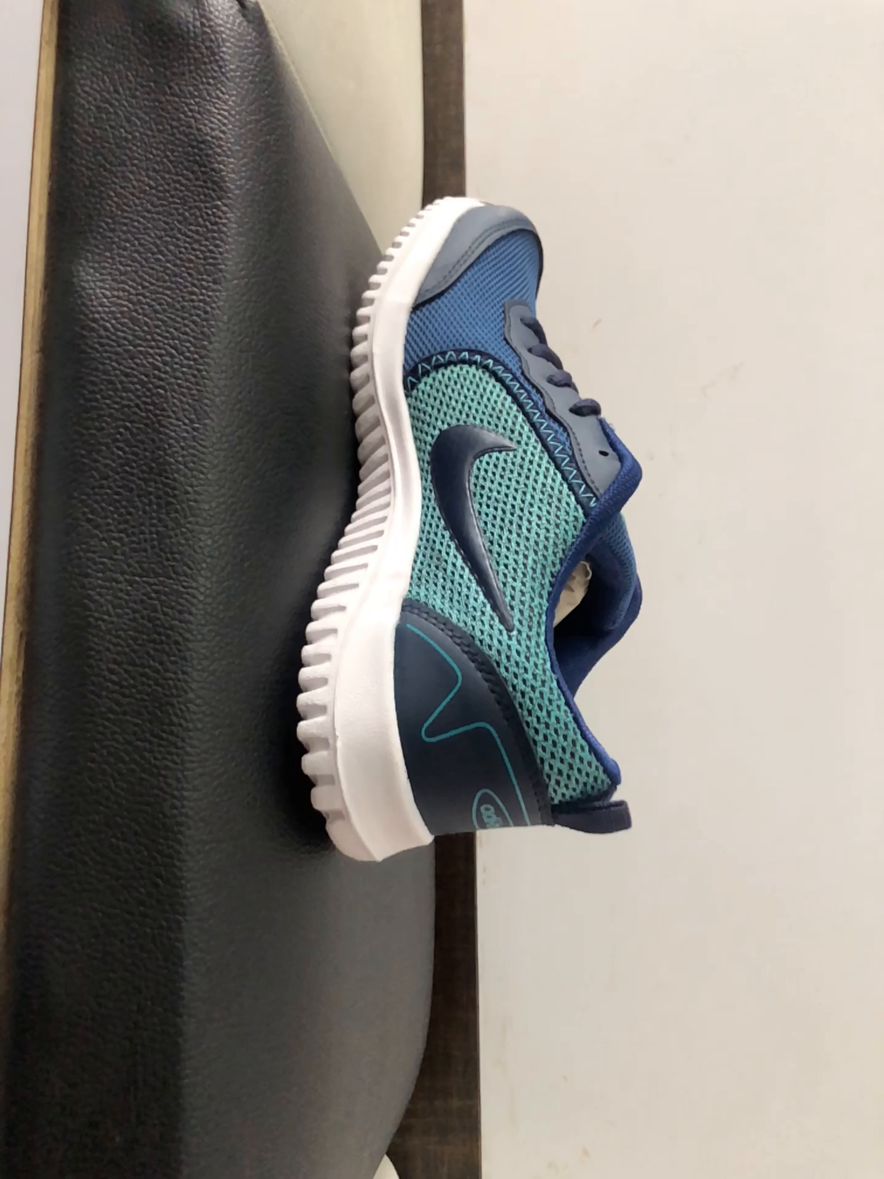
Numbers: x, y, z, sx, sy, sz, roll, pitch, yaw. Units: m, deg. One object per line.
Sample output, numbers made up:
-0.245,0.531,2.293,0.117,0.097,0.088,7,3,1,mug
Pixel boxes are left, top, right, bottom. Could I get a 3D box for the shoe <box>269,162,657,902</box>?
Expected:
0.021,-0.031,0.380,0.130,0.100,0.260,78,13,-51,shoe
